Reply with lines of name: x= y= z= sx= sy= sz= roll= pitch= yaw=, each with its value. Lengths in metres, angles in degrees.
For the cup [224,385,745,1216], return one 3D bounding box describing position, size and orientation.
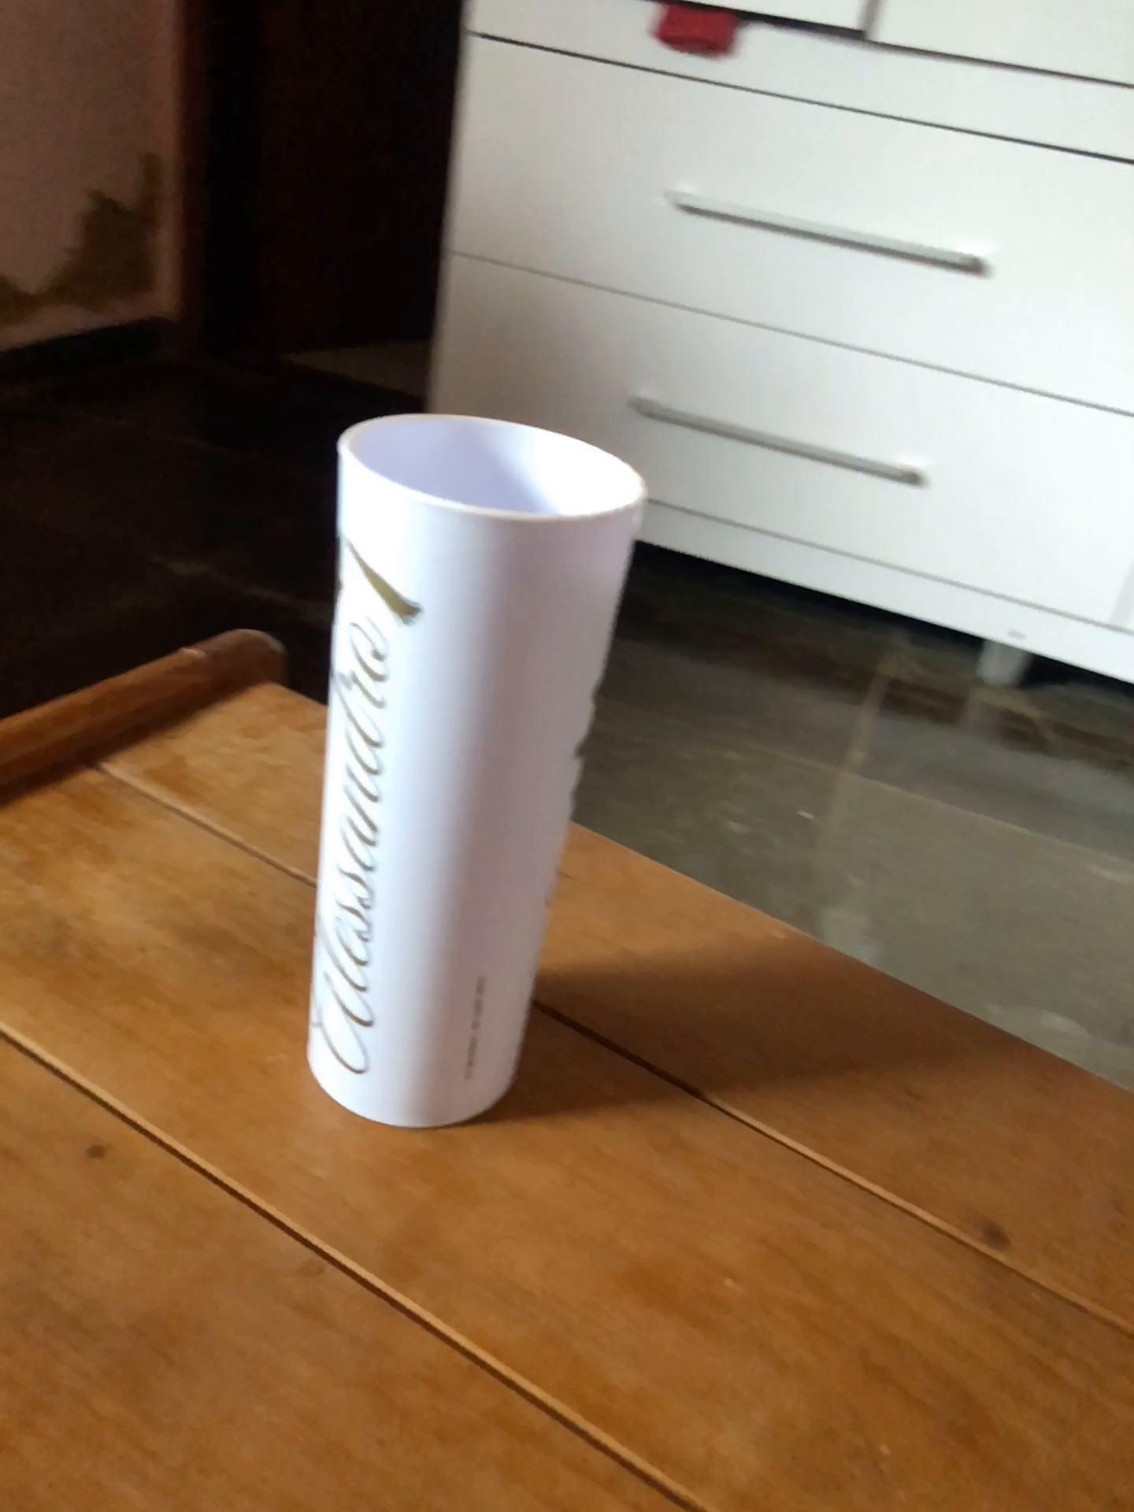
cup: x=-0.025 y=0.008 z=0.283 sx=0.070 sy=0.159 sz=0.070 roll=8 pitch=29 yaw=-4
